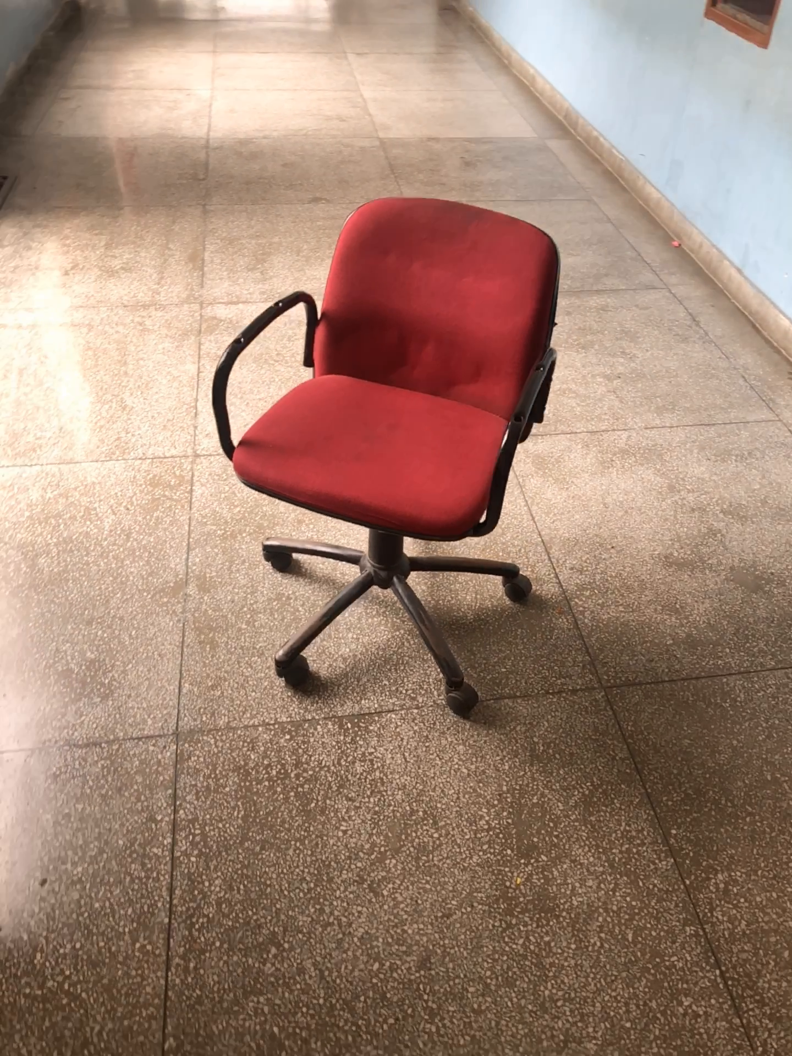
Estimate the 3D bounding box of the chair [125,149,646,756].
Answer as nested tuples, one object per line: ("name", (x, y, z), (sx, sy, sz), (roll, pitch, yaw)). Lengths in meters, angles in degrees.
("chair", (0.015, -0.161, 1.641), (0.650, 0.797, 0.642), (14, 41, 13))
